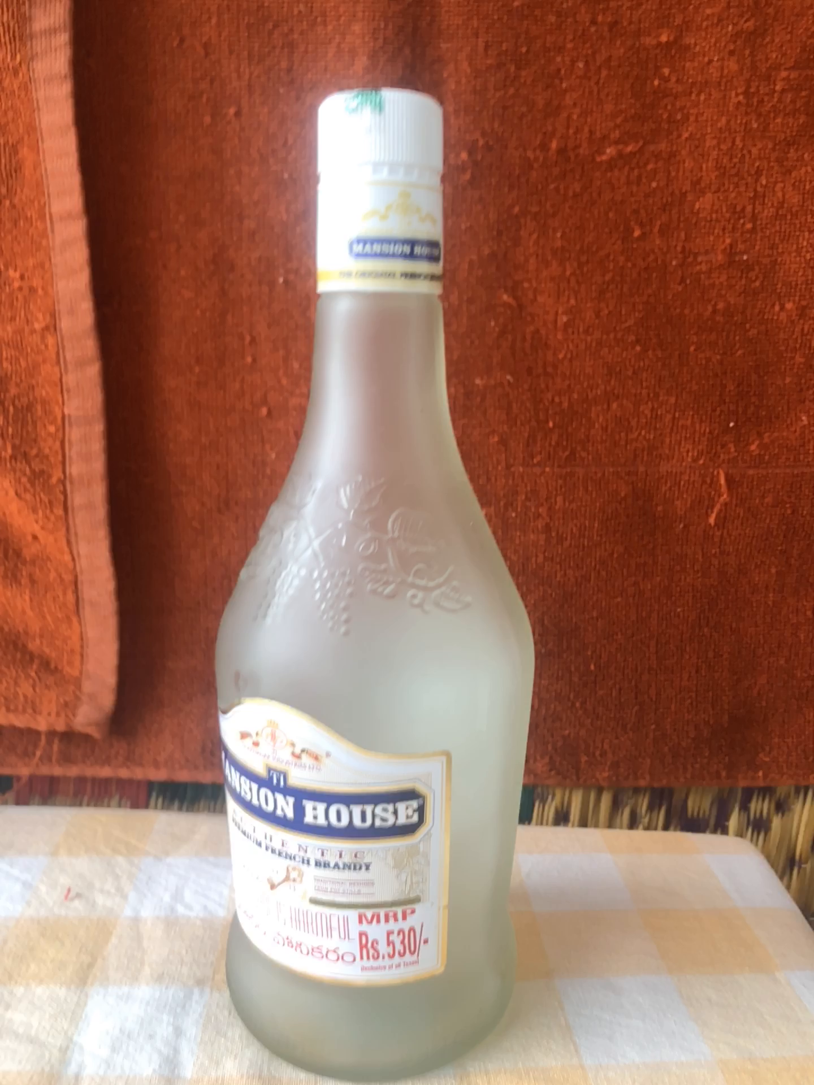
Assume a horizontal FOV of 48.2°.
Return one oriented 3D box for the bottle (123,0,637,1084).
[{"bbox_3d":[-0.009,0.008,0.251,0.090,0.249,0.090,3,13,-1],"label":"bottle"}]
